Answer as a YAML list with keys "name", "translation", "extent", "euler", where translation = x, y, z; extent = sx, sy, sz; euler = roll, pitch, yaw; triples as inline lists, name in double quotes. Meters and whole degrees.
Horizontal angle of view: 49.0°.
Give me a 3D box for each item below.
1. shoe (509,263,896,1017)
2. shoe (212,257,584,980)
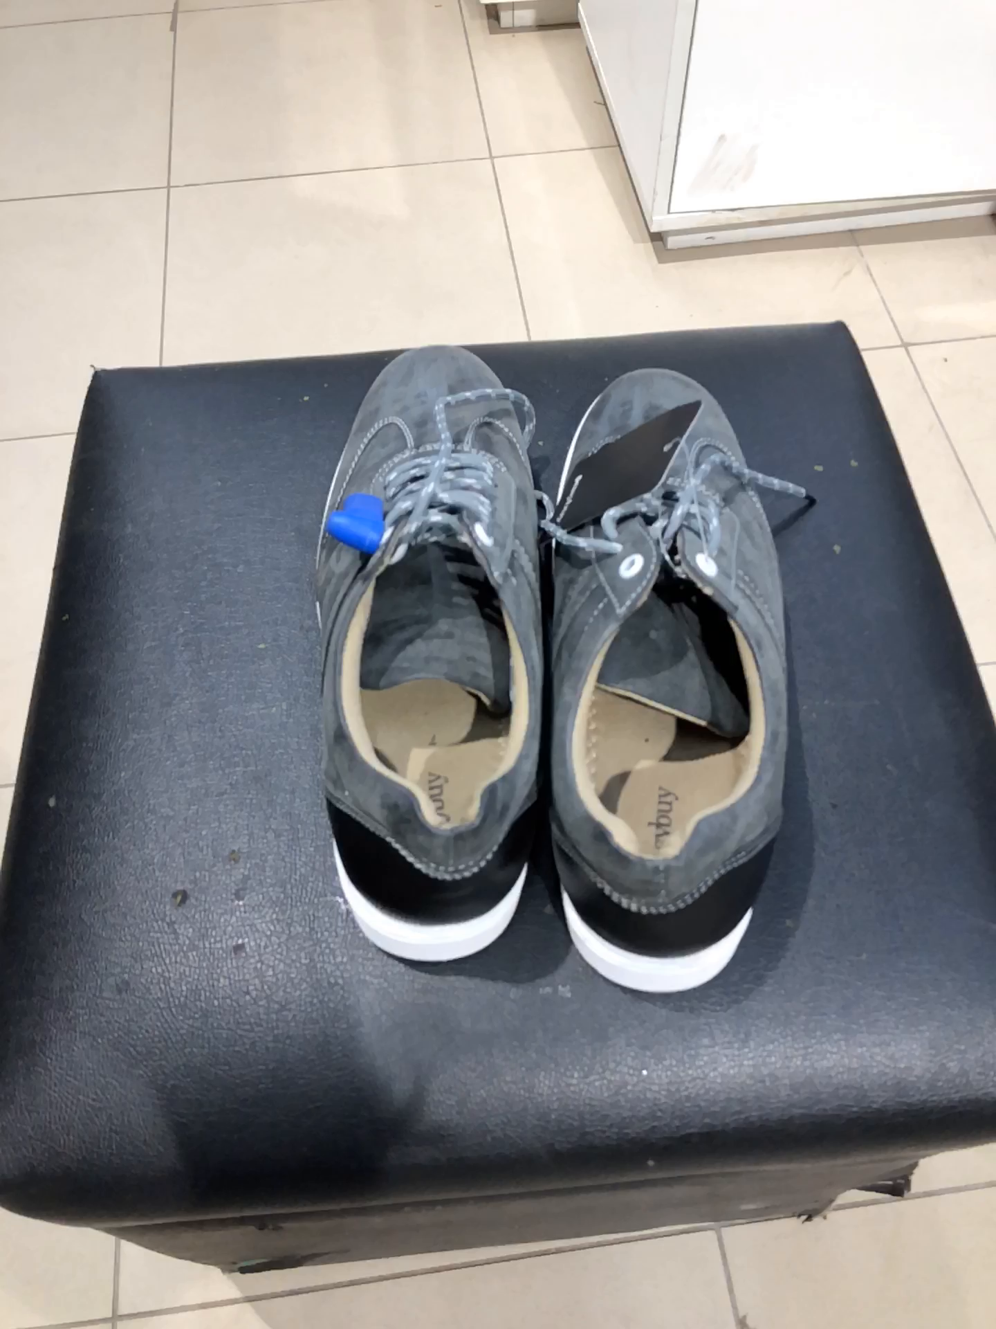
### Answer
- name: "shoe"
  translation: [0.066, -0.017, 0.396]
  extent: [0.100, 0.107, 0.250]
  euler: [4, 58, 3]
- name: "shoe"
  translation: [-0.029, -0.024, 0.406]
  extent: [0.100, 0.107, 0.250]
  euler: [-2, 58, 0]
